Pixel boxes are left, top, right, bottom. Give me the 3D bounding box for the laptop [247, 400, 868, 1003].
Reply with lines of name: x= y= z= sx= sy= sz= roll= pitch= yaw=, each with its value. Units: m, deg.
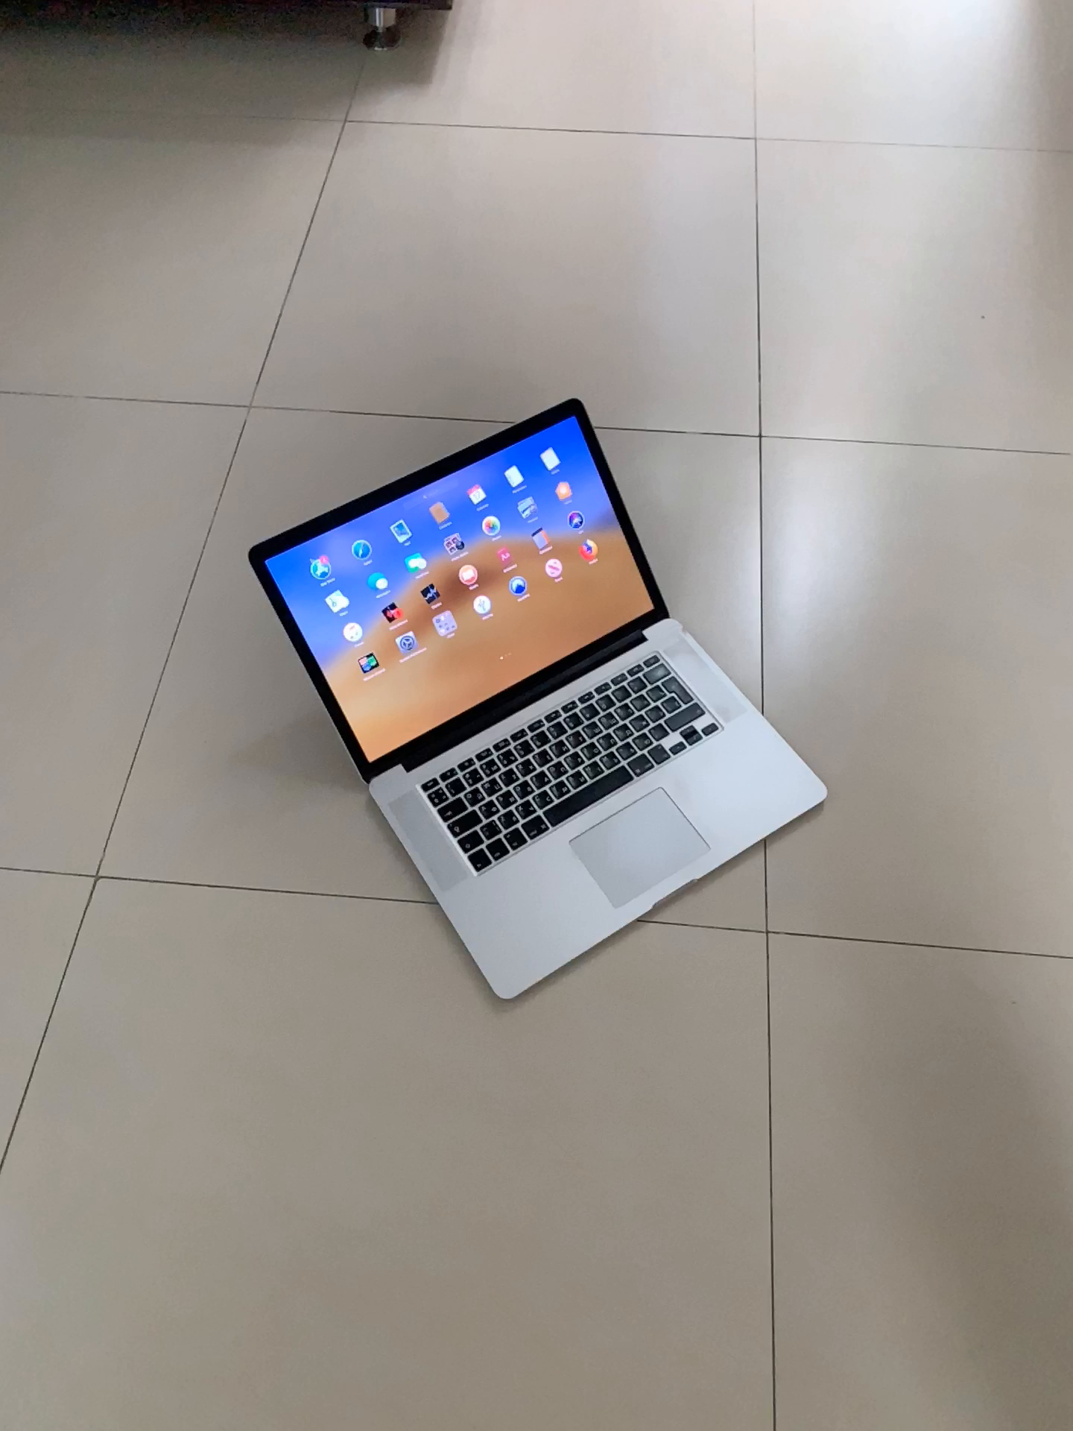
laptop: x=0.006 y=-0.034 z=0.986 sx=0.352 sy=0.162 sz=0.415 roll=-29 pitch=62 yaw=-17
